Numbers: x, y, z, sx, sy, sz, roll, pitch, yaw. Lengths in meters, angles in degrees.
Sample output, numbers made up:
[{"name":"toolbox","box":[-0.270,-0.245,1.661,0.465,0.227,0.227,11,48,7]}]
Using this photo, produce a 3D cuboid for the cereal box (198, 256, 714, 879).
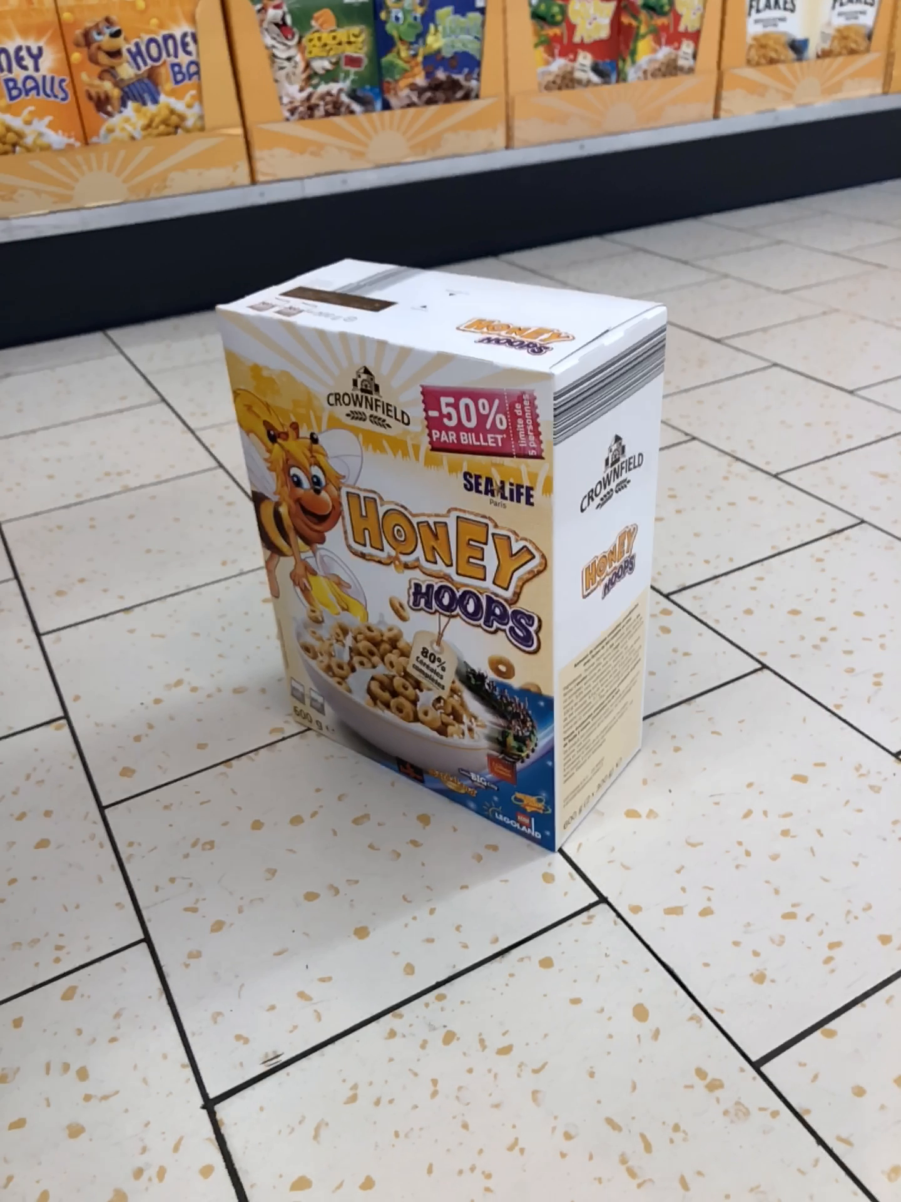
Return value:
[{"name":"cereal box","box":[0.003,-0.027,0.513,0.210,0.249,0.111,21,39,34]}]
